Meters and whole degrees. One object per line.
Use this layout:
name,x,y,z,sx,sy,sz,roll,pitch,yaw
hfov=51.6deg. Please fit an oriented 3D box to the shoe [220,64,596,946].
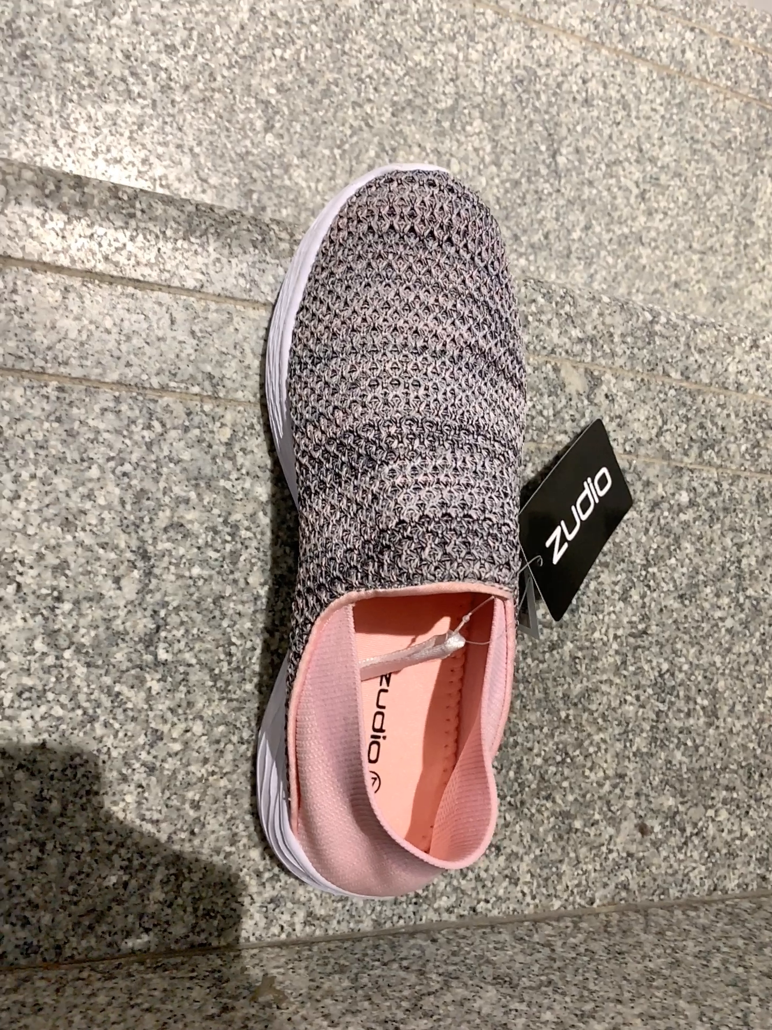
shoe,0.002,0.000,0.280,0.090,0.080,0.250,3,92,-22
